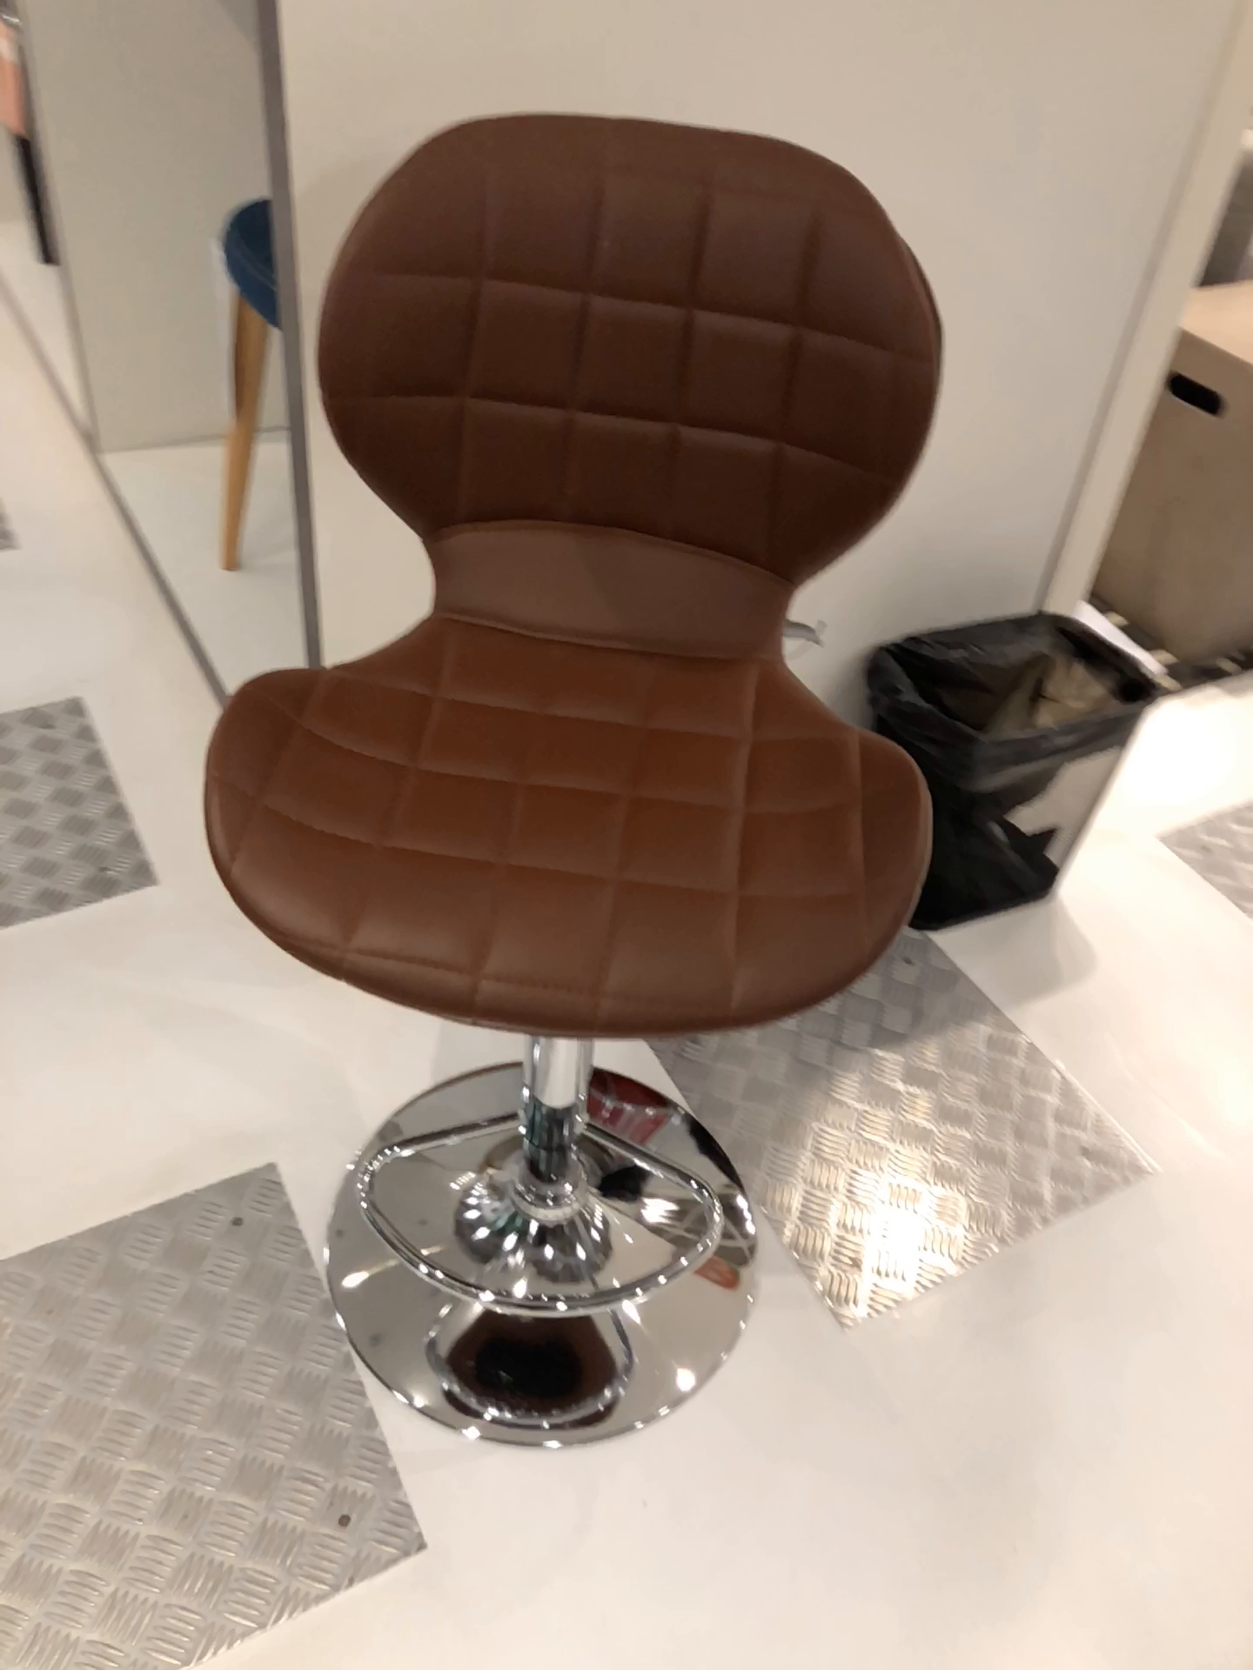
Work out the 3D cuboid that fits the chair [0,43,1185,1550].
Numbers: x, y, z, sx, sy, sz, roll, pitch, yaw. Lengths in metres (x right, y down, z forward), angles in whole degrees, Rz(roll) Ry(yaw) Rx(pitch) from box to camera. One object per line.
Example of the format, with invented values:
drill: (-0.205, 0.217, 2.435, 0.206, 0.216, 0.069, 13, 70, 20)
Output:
chair: (-0.049, 0.020, 1.018, 0.540, 0.923, 0.494, 11, 41, 5)
